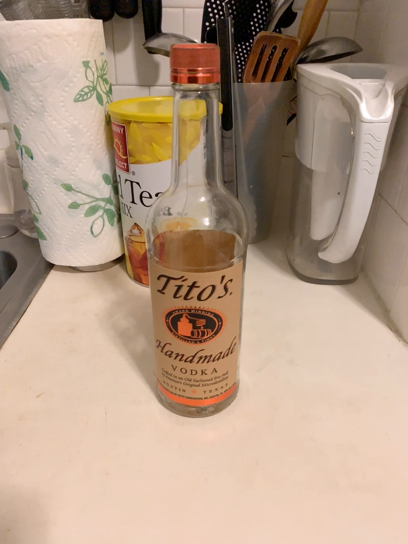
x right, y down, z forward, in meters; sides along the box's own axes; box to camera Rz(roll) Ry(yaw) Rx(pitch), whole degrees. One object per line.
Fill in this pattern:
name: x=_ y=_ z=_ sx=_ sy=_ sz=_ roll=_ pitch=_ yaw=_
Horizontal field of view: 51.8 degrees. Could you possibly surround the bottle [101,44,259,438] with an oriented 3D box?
bottle: x=-0.012 y=-0.009 z=0.323 sx=0.080 sy=0.288 sz=0.080 roll=1 pitch=29 yaw=-1
